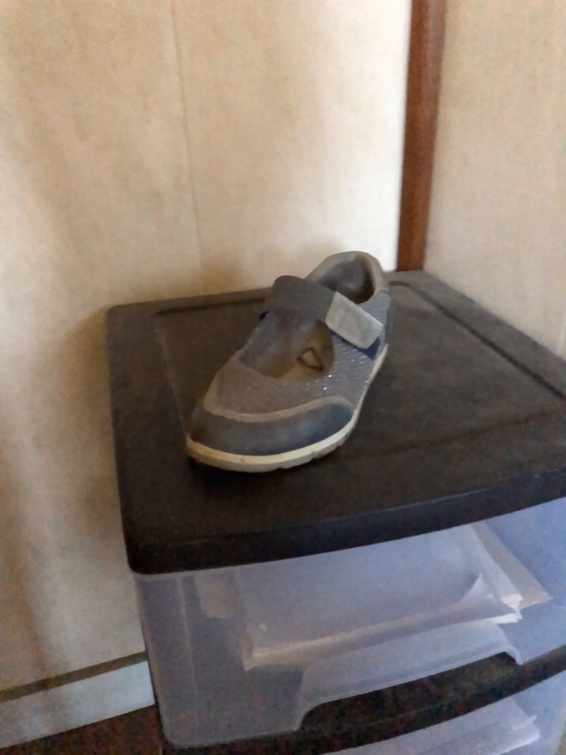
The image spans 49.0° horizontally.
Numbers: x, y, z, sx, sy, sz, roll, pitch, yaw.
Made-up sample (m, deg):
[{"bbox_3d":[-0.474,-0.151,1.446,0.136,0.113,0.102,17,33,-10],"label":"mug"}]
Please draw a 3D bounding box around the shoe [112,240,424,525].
[{"bbox_3d":[0.011,-0.021,0.452,0.110,0.080,0.262,11,31,24],"label":"shoe"}]
